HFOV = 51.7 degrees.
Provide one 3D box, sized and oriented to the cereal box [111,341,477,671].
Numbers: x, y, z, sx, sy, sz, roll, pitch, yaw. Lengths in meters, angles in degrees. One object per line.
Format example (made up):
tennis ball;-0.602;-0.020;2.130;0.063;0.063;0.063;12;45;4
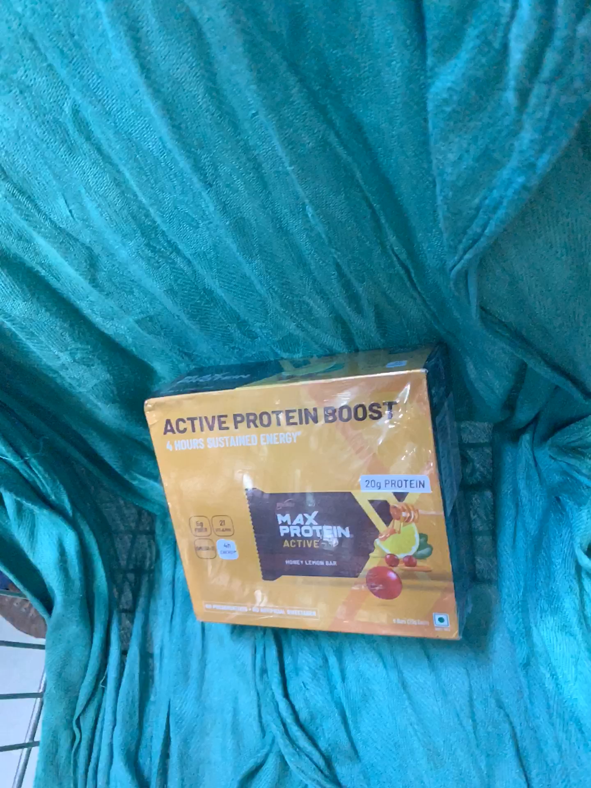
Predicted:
cereal box;0.004;0.056;0.332;0.160;0.080;0.140;-5;101;23
